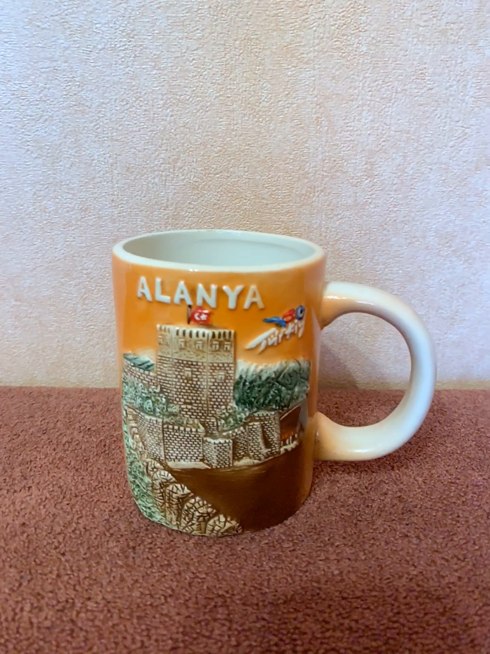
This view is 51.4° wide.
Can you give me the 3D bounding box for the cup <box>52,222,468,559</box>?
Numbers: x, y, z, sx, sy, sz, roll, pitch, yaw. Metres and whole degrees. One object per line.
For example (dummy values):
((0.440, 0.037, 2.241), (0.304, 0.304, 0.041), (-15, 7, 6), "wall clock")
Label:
((0.007, 0.016, 0.204), (0.119, 0.098, 0.088), (2, 21, 6), "cup")
